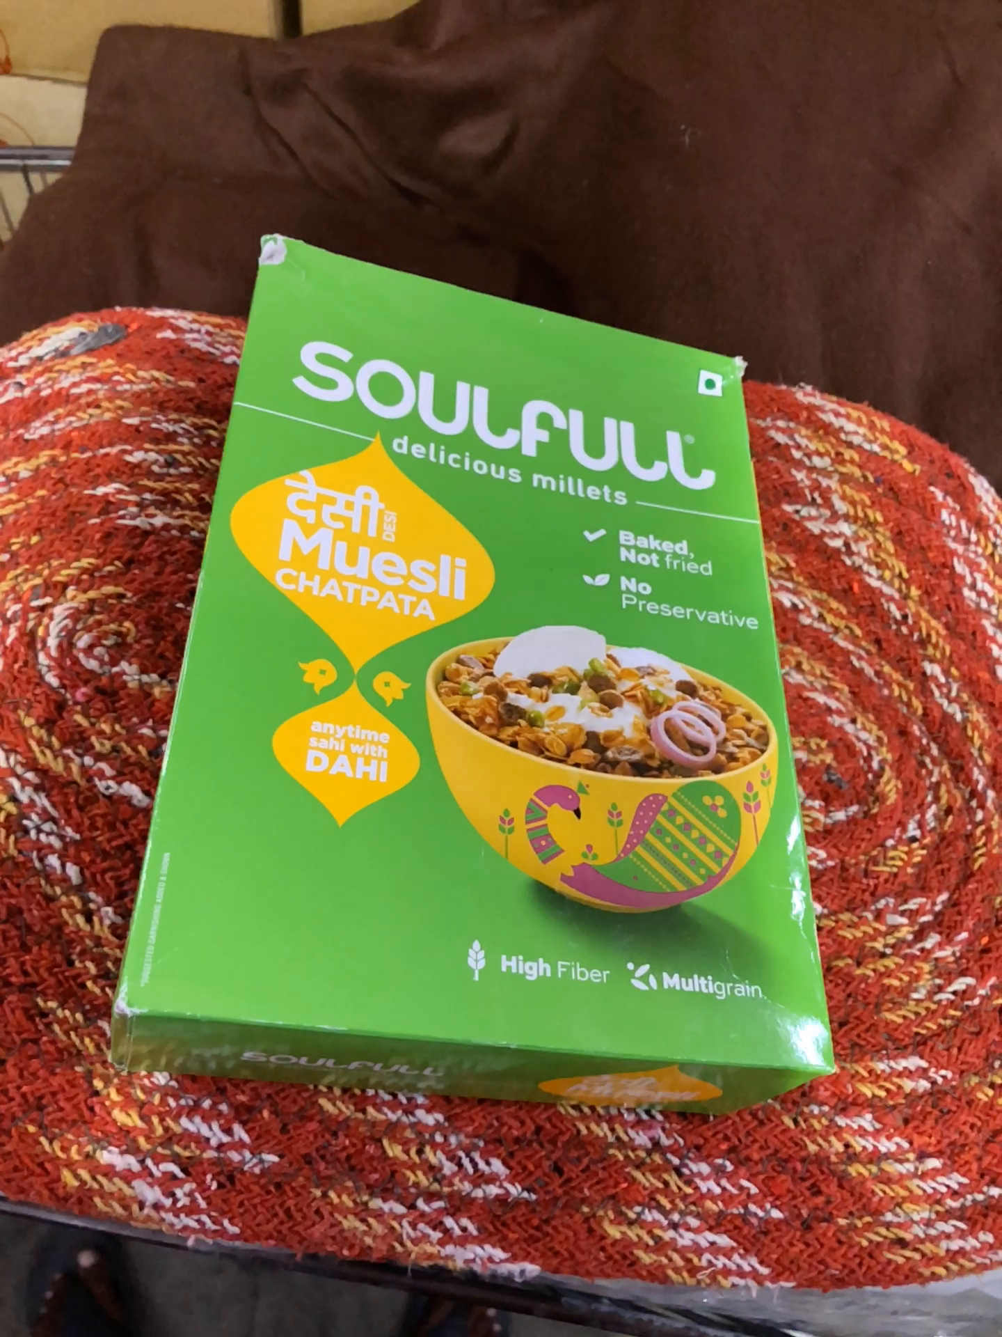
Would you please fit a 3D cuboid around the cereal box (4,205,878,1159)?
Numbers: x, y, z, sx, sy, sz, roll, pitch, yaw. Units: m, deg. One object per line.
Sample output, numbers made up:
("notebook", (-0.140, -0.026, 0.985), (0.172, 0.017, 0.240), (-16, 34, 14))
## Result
("cereal box", (-0.010, -0.008, 0.304), (0.170, 0.060, 0.241), (10, 54, -12))
